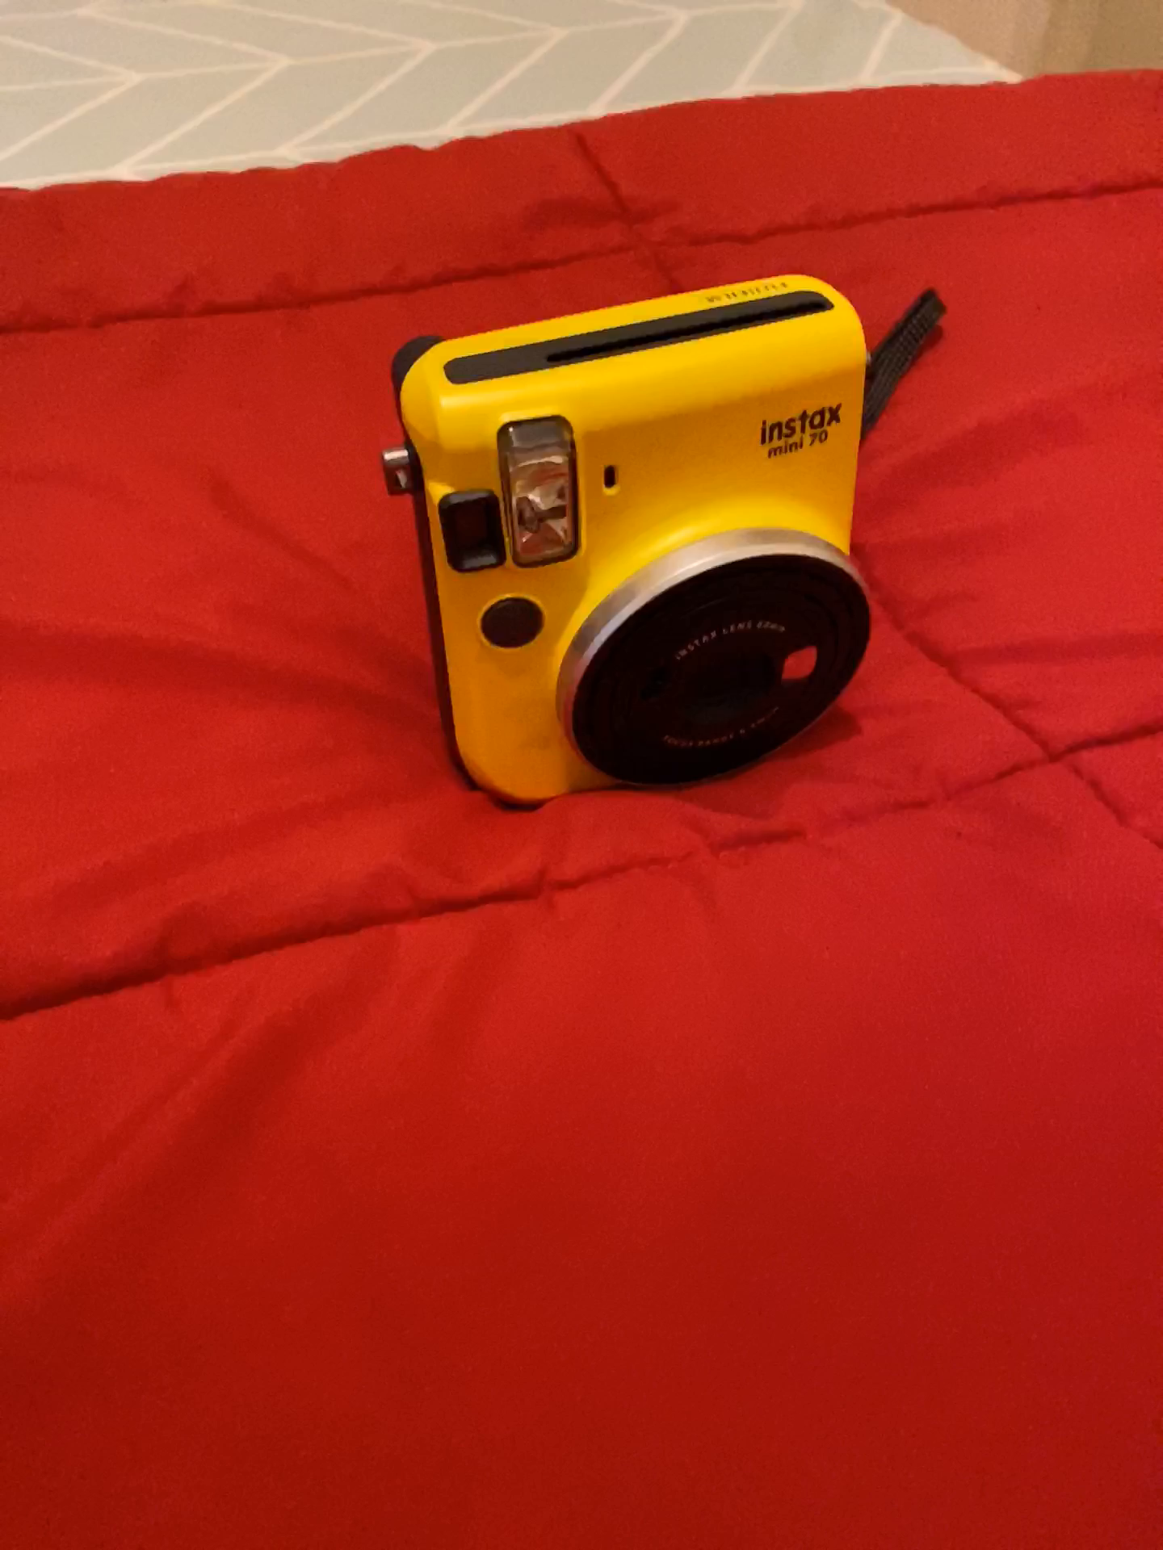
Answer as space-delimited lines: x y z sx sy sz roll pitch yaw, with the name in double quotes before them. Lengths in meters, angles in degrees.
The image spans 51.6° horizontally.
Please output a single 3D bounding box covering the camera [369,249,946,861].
"camera" 0.013 -0.046 0.265 0.095 0.103 0.057 -14 50 -11
